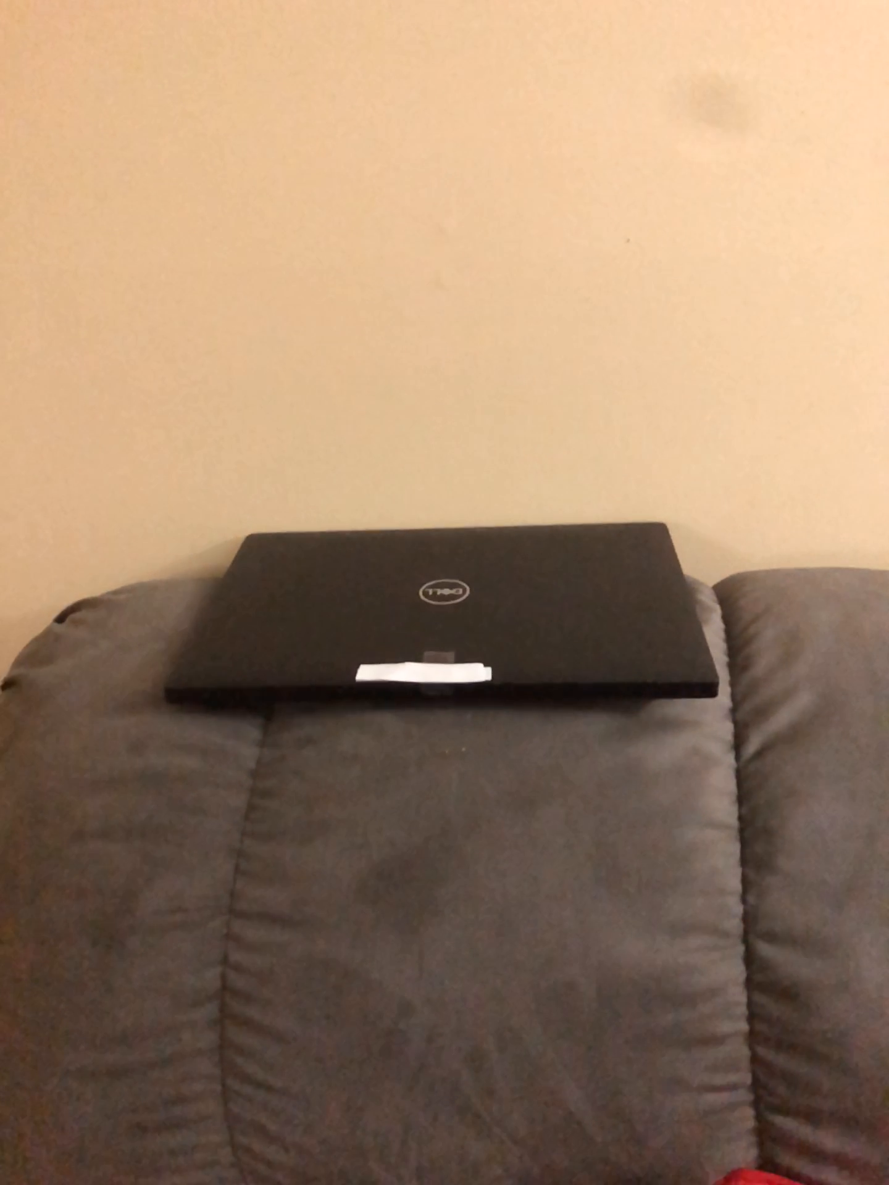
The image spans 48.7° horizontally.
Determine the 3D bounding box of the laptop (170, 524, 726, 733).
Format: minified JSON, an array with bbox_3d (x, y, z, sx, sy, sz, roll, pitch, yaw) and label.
[{"bbox_3d":[0.004,0.015,0.669,0.326,0.030,0.215,-1,28,7],"label":"laptop"}]
